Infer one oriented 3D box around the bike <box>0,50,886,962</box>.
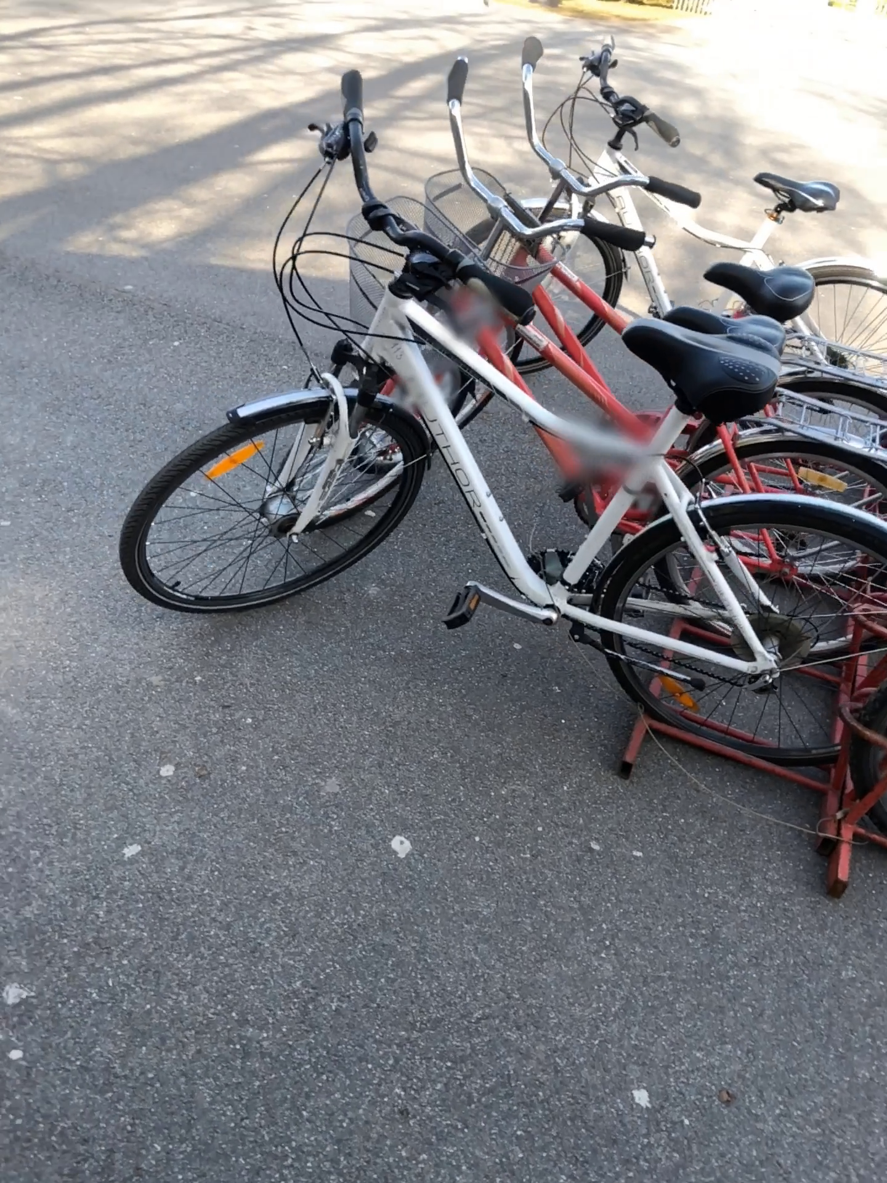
[{"bbox_3d":[0.221,-0.130,1.711,1.600,1.163,0.622,12,34,2],"label":"bike"}]
